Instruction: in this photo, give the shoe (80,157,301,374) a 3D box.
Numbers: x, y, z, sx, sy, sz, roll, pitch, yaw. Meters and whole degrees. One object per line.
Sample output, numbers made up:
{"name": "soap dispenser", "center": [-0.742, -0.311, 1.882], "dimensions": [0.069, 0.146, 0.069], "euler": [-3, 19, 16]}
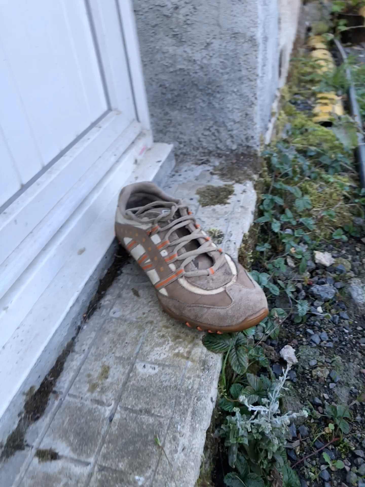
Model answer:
{"name": "shoe", "center": [-0.006, 0.003, 0.478], "dimensions": [0.110, 0.099, 0.271], "euler": [-27, 41, -24]}
